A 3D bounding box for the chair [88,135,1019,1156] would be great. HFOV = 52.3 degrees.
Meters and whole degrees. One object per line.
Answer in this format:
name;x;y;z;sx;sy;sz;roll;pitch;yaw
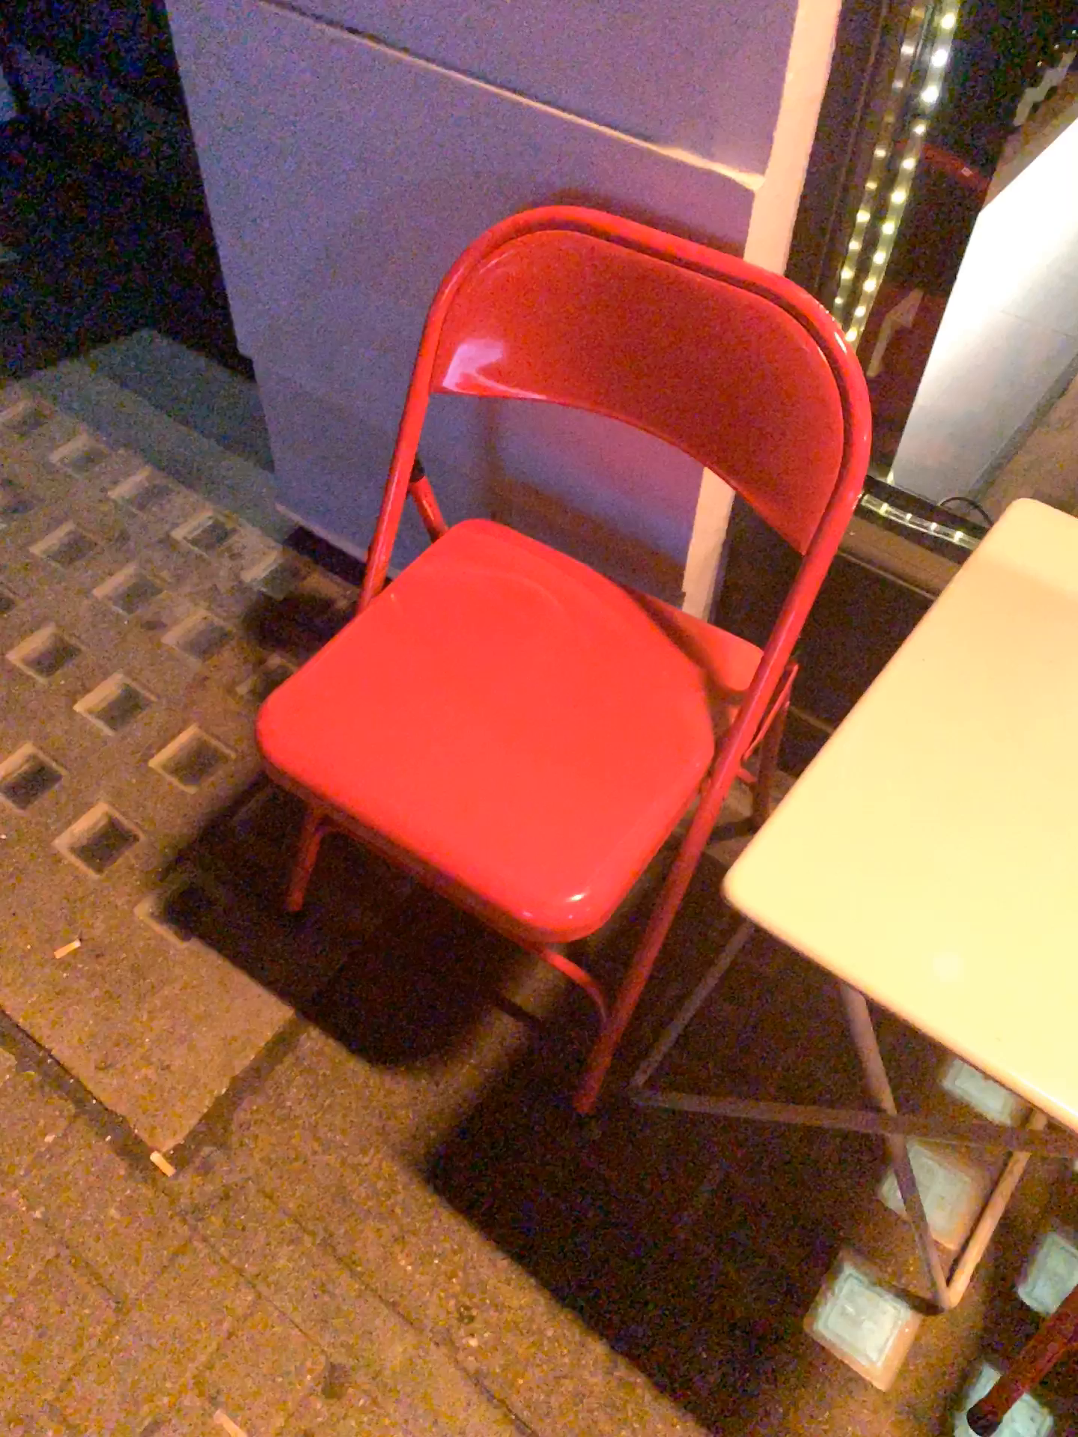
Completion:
chair;0.026;-0.038;1.104;0.471;0.743;0.533;30;57;20
